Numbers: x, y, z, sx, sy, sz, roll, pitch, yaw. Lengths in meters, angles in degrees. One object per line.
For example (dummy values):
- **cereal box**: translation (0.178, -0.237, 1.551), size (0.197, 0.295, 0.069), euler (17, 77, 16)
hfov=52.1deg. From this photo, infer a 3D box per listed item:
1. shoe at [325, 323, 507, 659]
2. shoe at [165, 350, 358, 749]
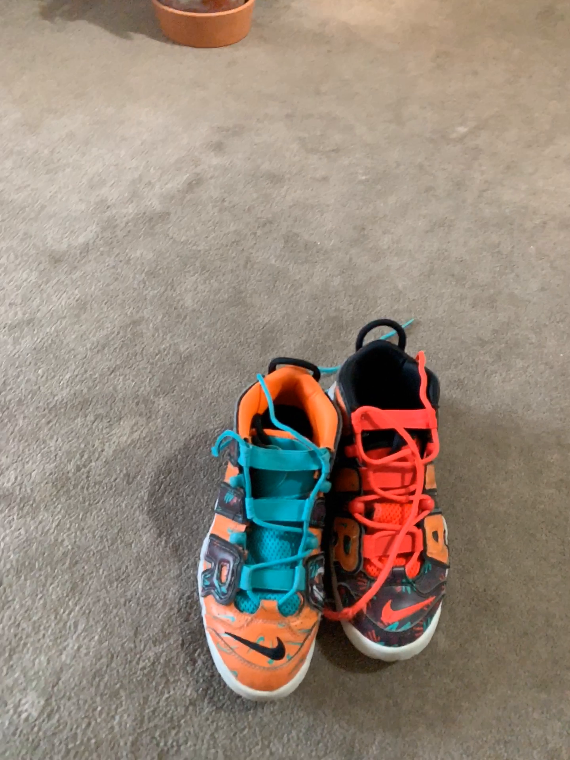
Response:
- **shoe**: translation (0.084, 0.084, 0.447), size (0.100, 0.109, 0.232), euler (-1, 63, 2)
- **shoe**: translation (-0.007, 0.113, 0.428), size (0.100, 0.089, 0.252), euler (5, 63, 2)
